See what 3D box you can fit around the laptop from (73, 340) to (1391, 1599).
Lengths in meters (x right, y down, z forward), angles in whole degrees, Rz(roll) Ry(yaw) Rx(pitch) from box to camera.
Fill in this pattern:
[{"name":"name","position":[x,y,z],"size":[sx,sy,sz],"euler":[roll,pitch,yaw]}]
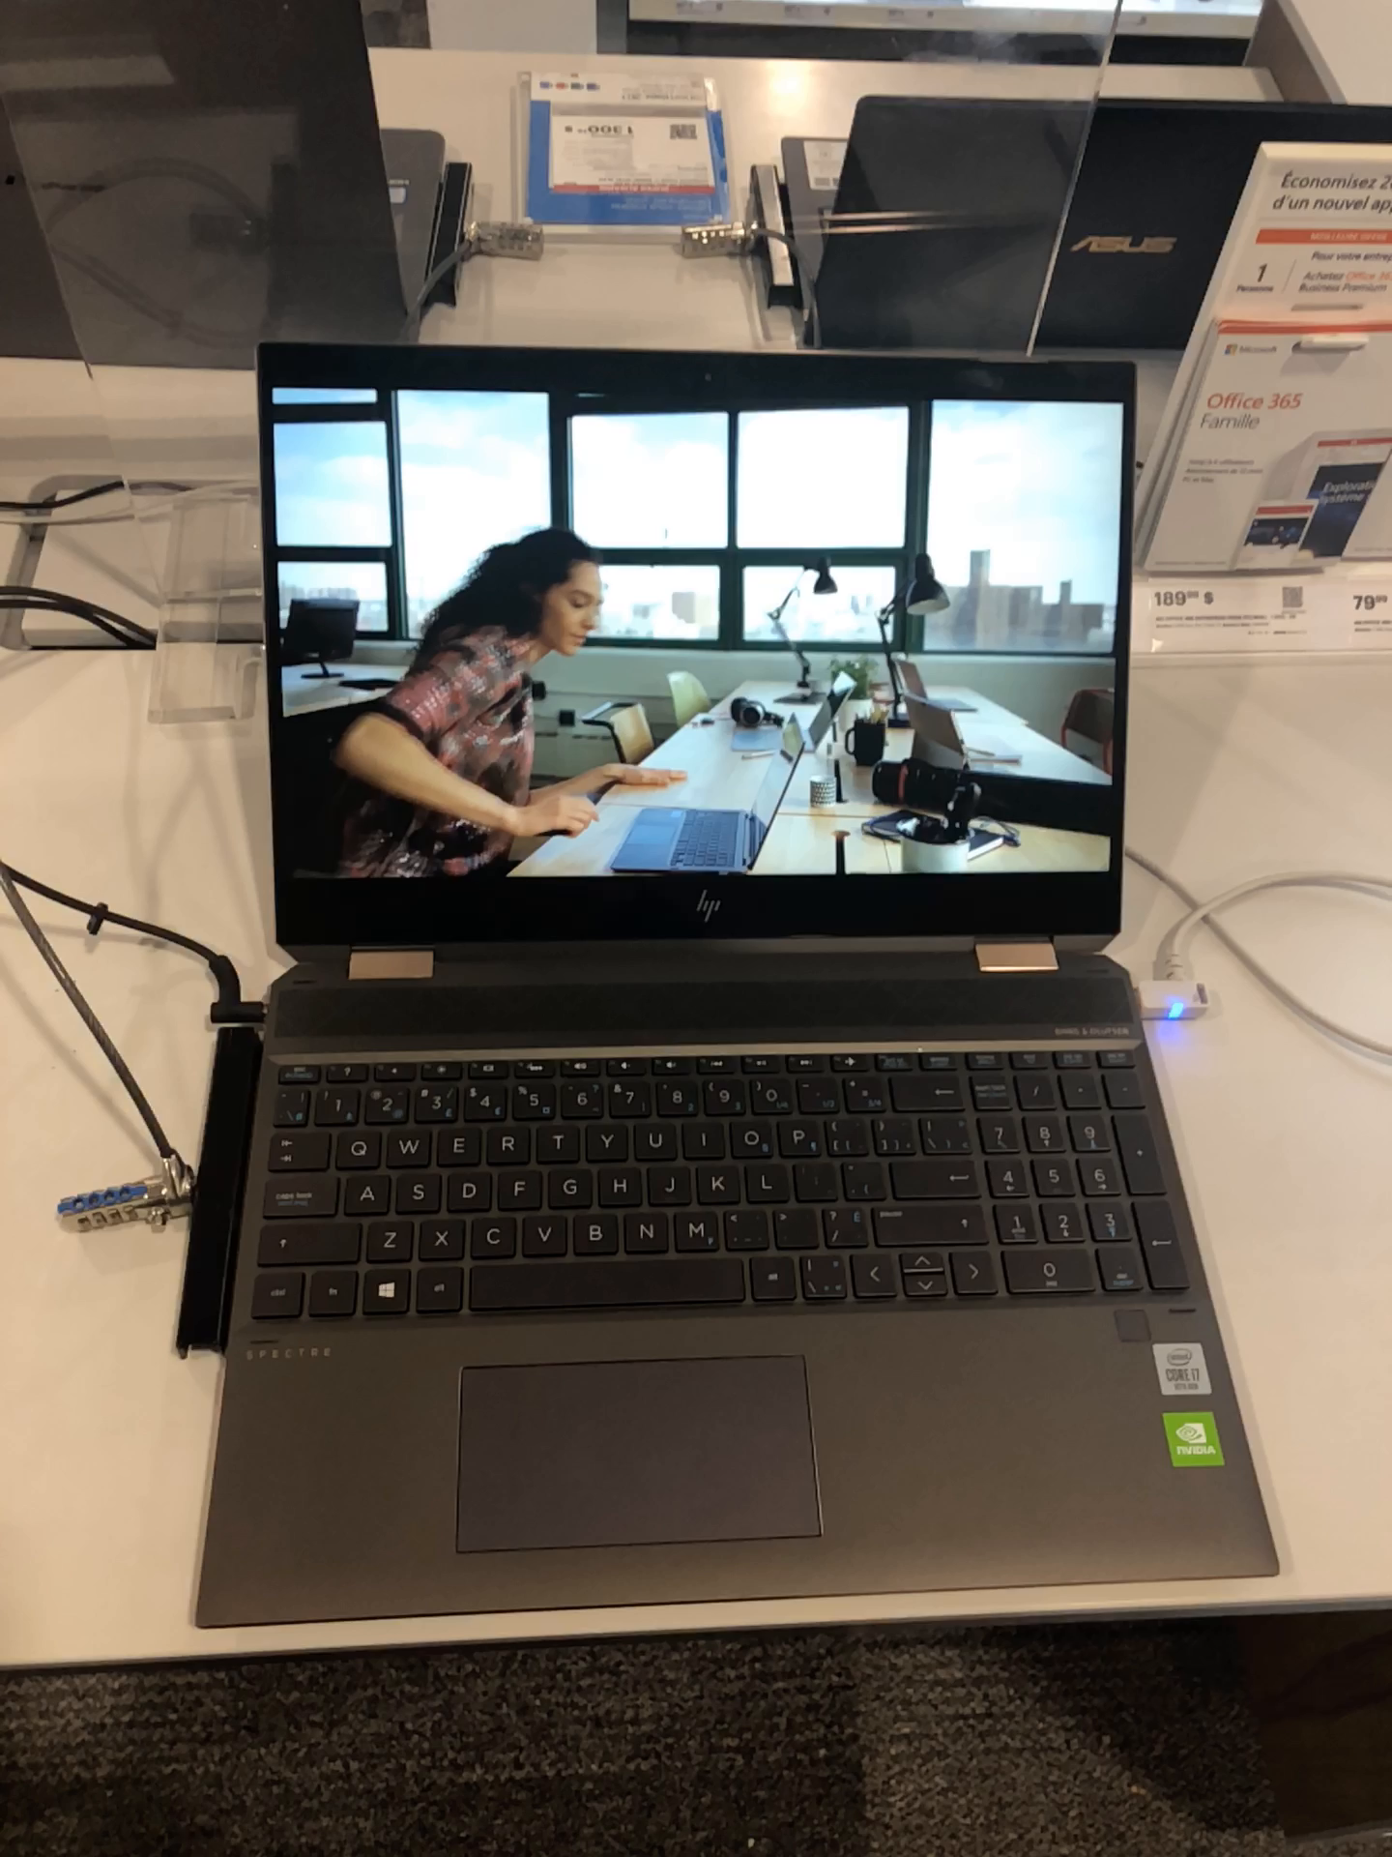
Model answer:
[{"name":"laptop","position":[0.008,-0.009,0.540],"size":[0.333,0.145,0.426],"euler":[-1,57,-2]}]
